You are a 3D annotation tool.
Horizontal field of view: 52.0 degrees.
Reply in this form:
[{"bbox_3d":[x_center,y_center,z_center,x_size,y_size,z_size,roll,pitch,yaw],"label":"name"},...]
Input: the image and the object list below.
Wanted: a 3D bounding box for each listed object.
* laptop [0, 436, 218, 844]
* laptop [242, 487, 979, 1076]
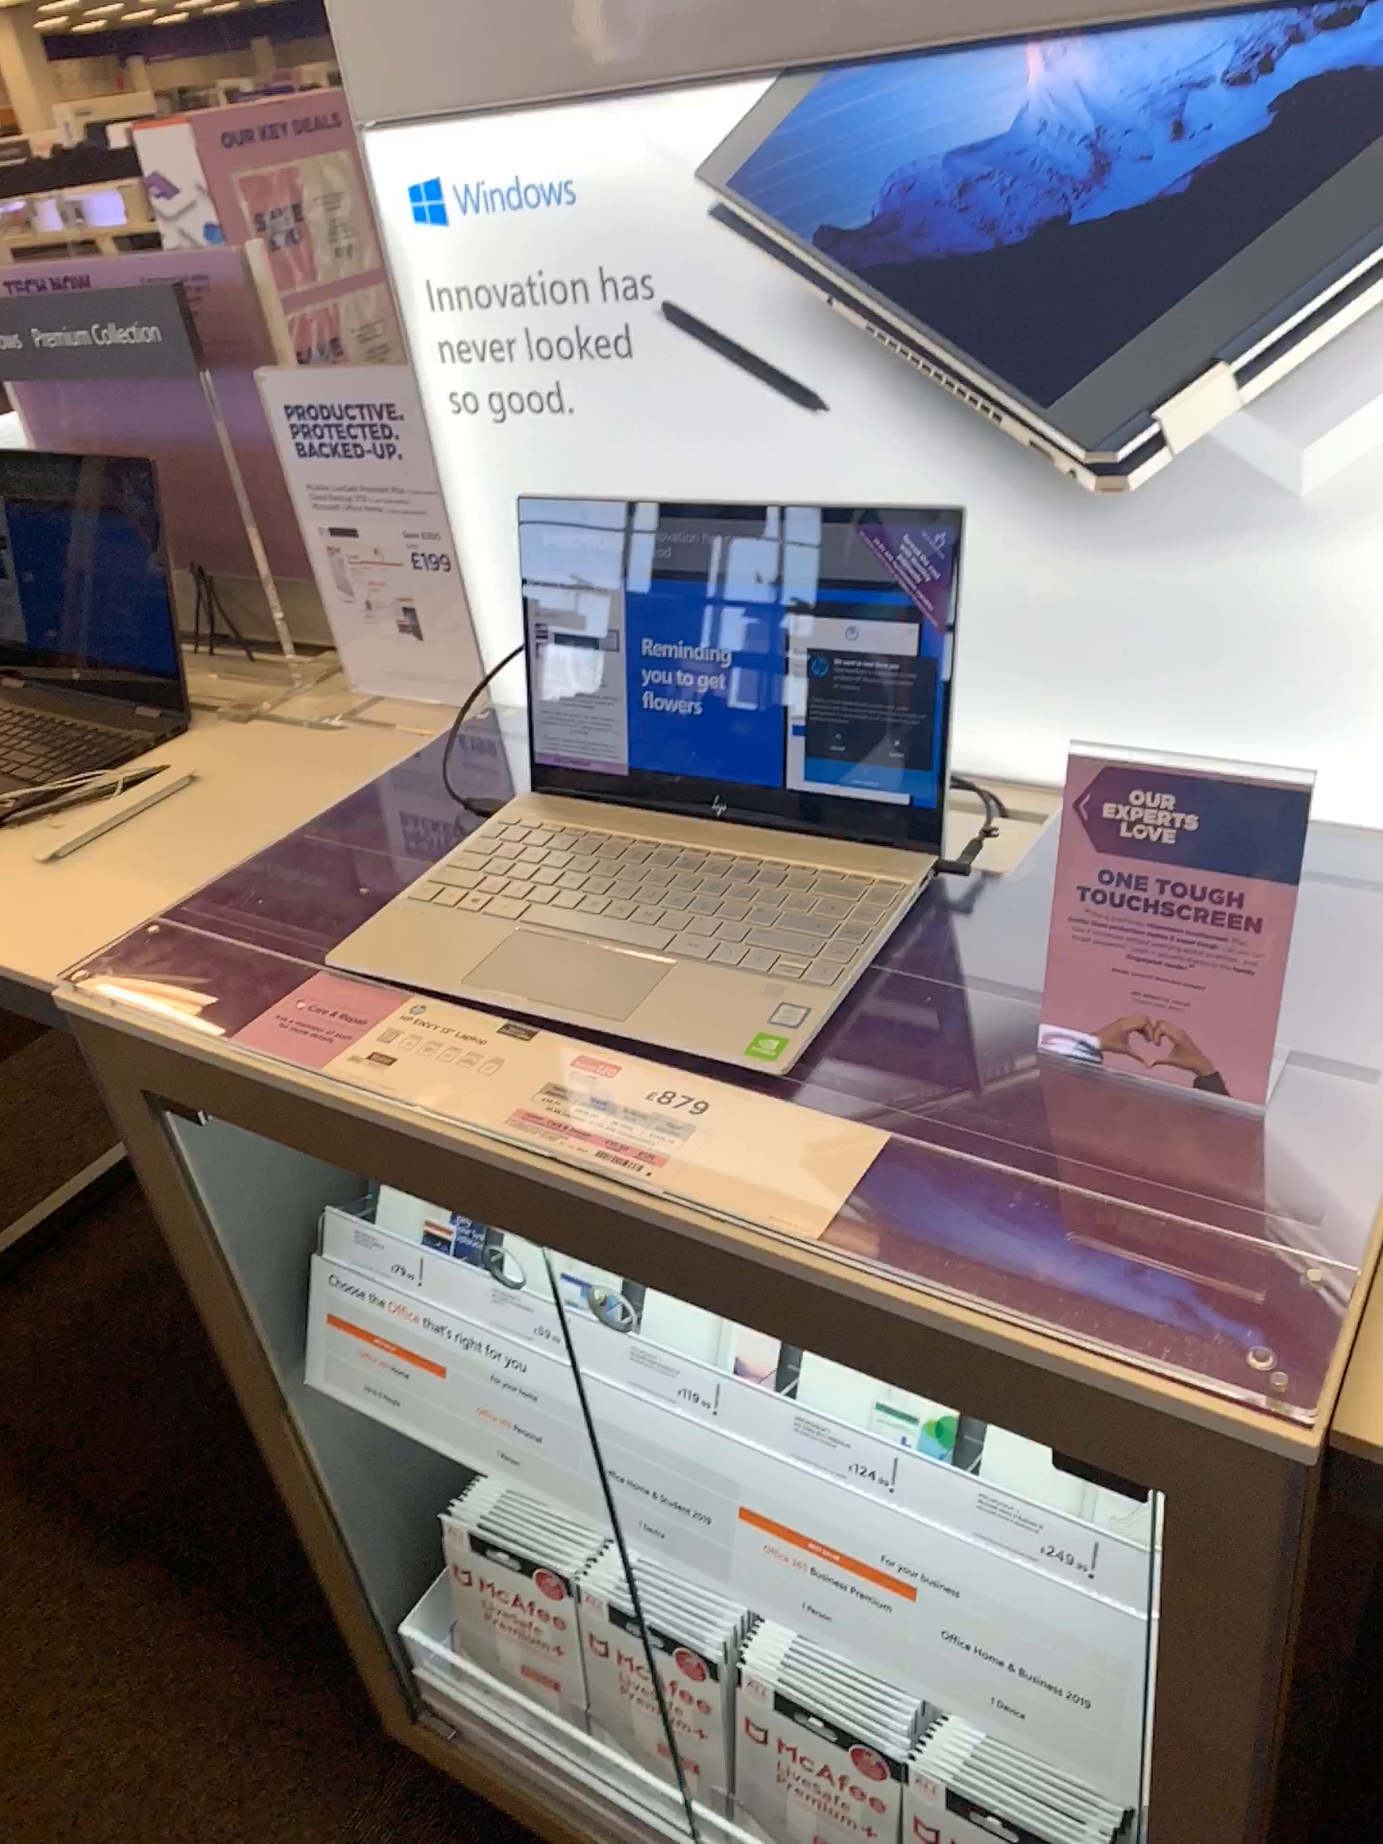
[{"bbox_3d":[-0.712,-0.286,1.358,0.299,0.236,0.314,14,39,28],"label":"laptop"},{"bbox_3d":[-0.028,-0.102,0.785,0.296,0.181,0.262,11,38,29],"label":"laptop"}]
